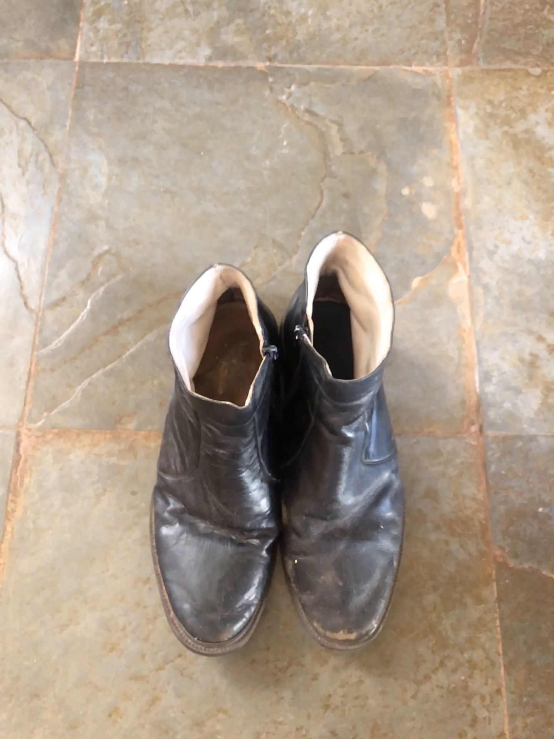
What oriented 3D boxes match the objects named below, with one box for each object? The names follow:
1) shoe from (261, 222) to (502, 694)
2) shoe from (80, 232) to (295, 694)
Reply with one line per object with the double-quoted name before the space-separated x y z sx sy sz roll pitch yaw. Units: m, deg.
"shoe" 0.049 0.057 0.409 0.100 0.160 0.251 -4 72 -1
"shoe" -0.042 0.061 0.412 0.100 0.160 0.251 1 72 0
